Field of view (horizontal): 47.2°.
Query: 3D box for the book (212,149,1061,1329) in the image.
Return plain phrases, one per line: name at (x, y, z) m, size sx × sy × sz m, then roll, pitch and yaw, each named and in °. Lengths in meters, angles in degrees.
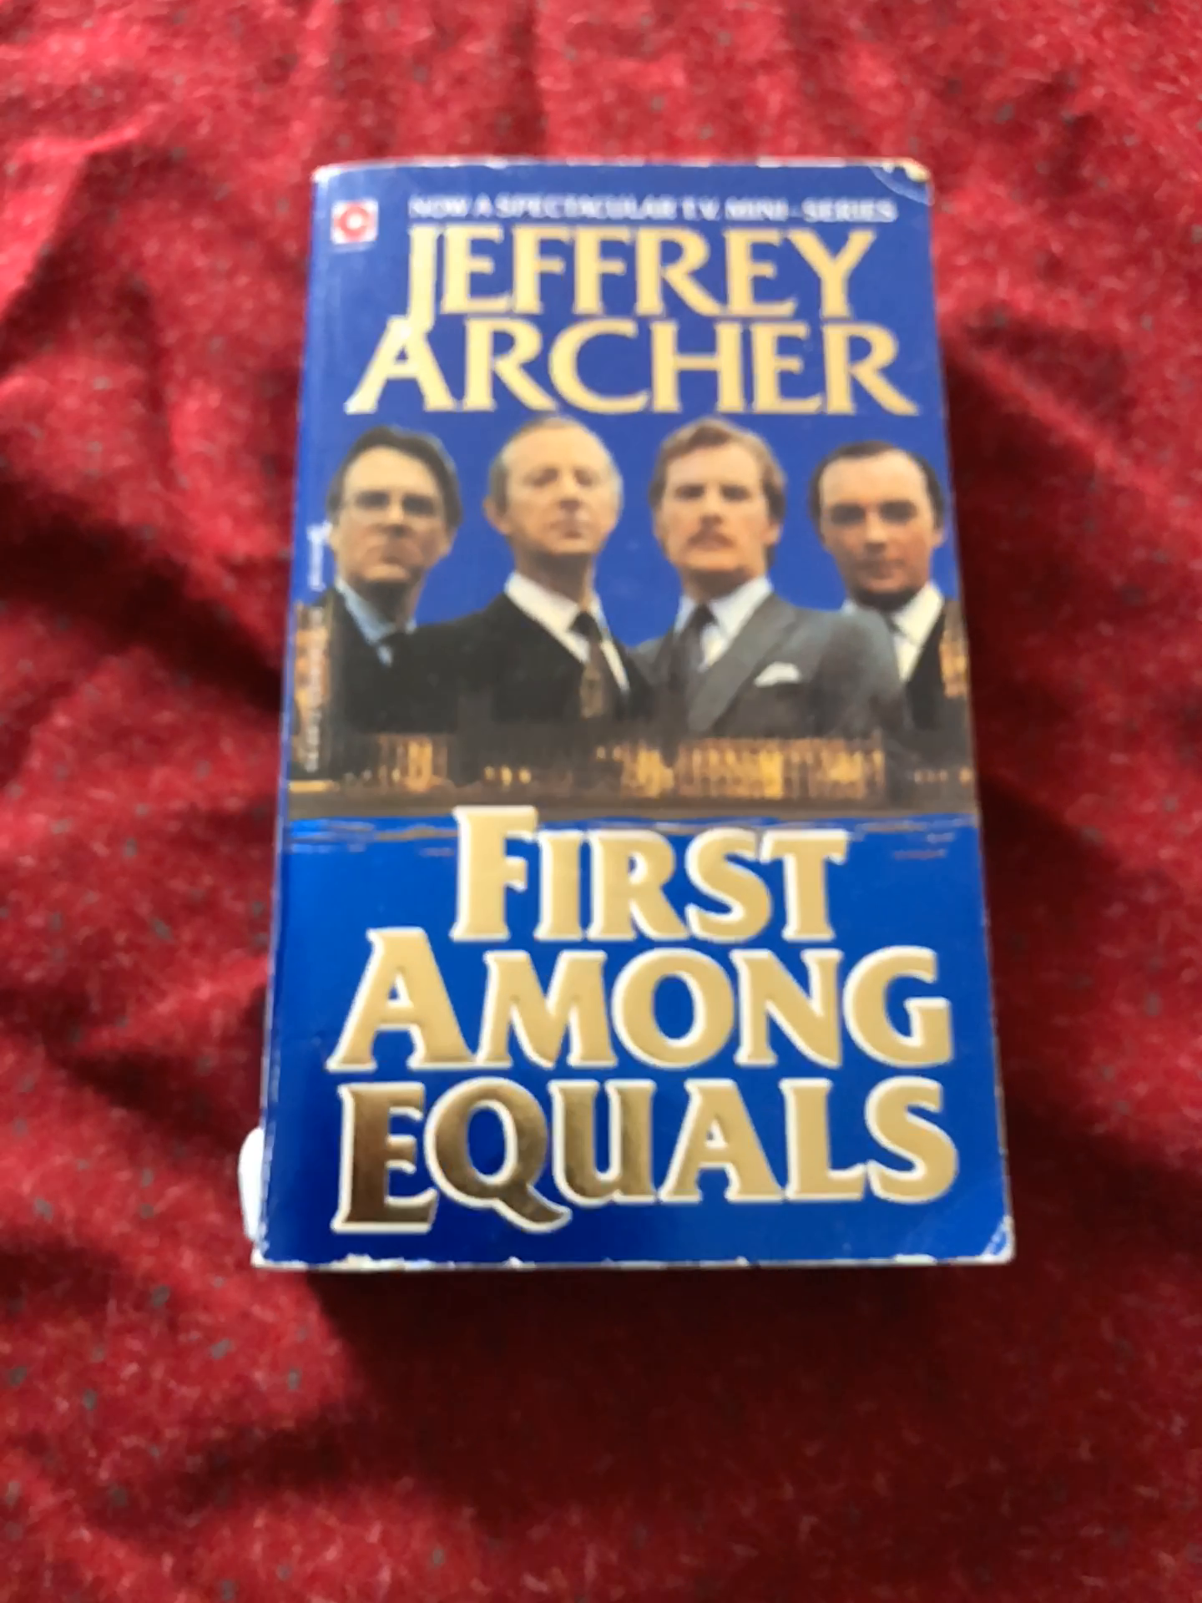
book at (0.004, -0.014, 0.218) m, size 0.110 × 0.038 × 0.177 m, roll 0°, pitch 76°, yaw -2°
